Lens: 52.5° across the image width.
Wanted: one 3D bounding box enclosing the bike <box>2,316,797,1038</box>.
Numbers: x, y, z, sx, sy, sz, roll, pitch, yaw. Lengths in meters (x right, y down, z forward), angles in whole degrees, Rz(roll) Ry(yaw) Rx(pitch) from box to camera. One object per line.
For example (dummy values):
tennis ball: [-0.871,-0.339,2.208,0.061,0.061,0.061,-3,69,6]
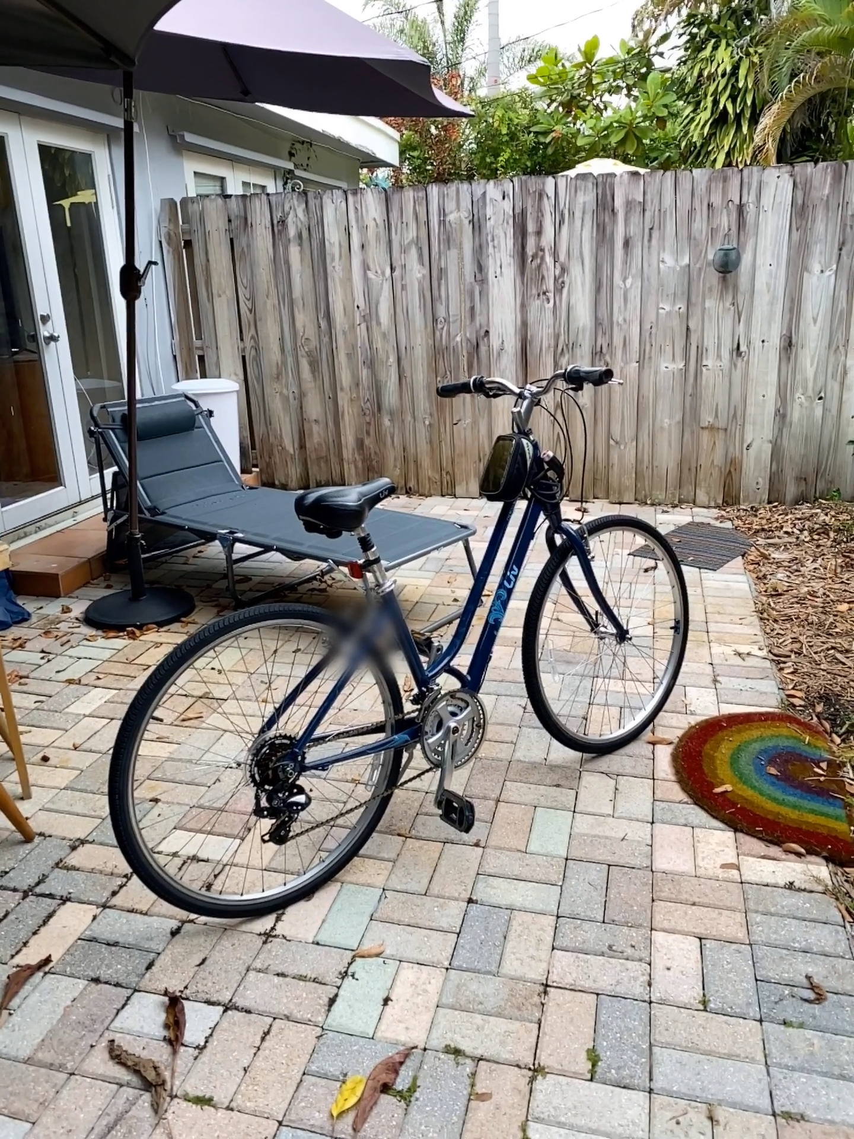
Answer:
bike: [0.067,0.046,2.079,1.692,1.067,0.596,-18,24,-33]
